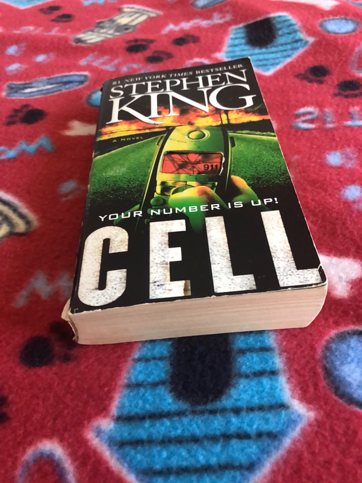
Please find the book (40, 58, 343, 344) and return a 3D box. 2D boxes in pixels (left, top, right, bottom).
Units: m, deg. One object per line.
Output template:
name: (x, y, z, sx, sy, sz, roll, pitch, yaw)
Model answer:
book: (0.000, -0.043, 0.237, 0.120, 0.030, 0.201, -4, 49, 0)
